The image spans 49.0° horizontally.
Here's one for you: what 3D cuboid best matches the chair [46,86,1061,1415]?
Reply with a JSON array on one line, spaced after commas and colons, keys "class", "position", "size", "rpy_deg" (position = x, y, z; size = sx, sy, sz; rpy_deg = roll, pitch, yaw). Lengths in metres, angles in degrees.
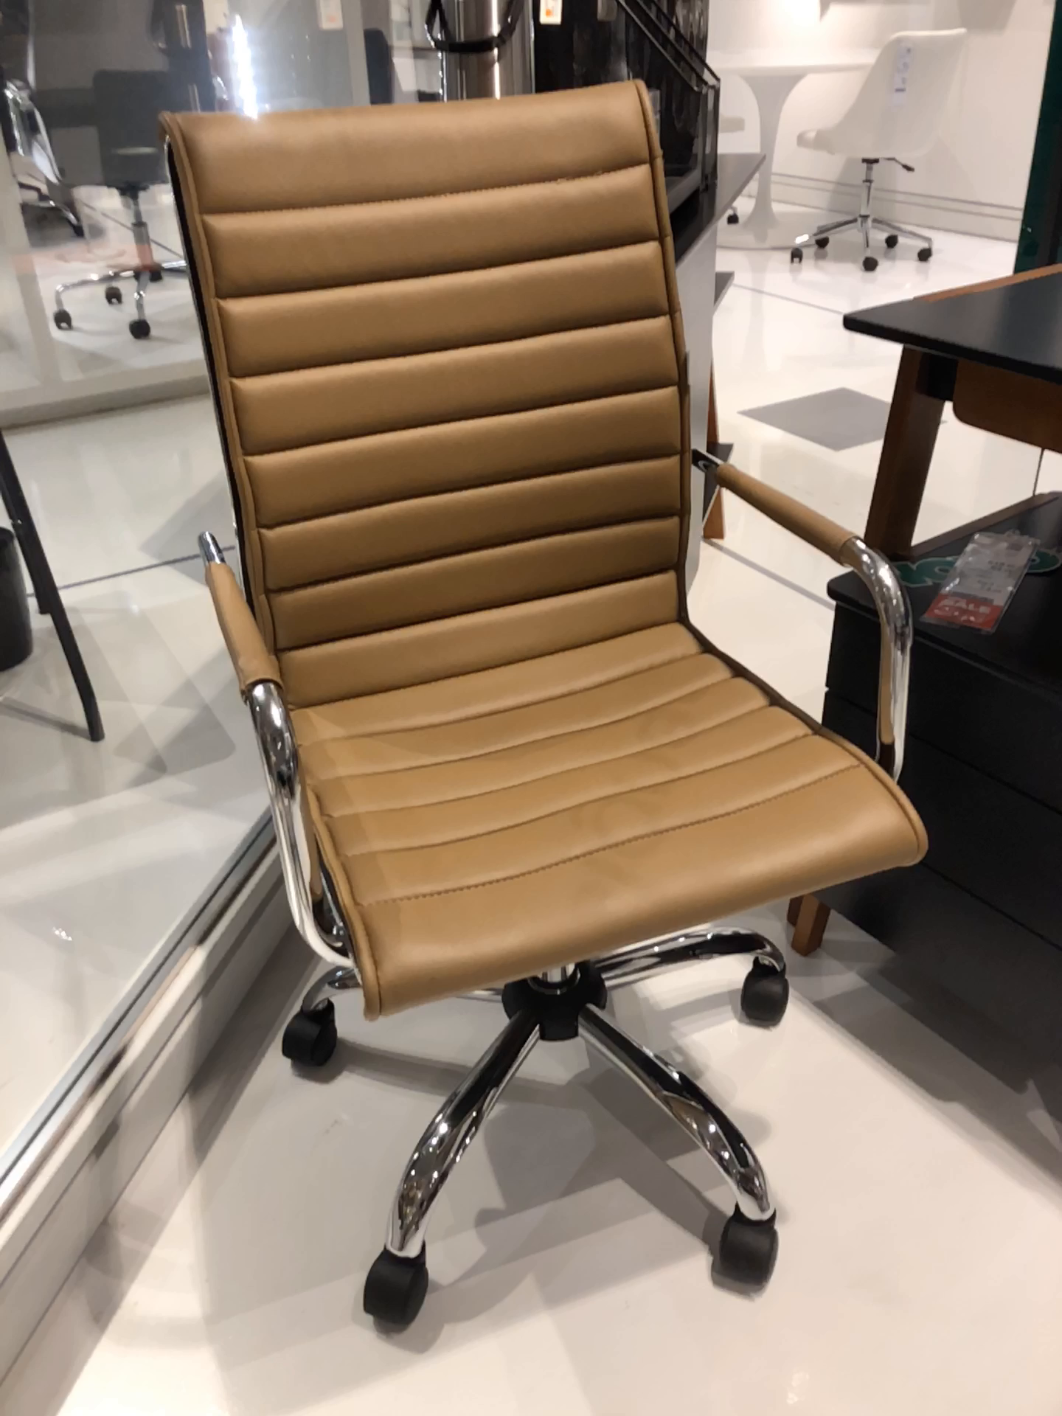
[{"class": "chair", "position": [0.003, 0.014, 1.030], "size": [0.601, 0.943, 0.614], "rpy_deg": [-12, 32, -16]}]
